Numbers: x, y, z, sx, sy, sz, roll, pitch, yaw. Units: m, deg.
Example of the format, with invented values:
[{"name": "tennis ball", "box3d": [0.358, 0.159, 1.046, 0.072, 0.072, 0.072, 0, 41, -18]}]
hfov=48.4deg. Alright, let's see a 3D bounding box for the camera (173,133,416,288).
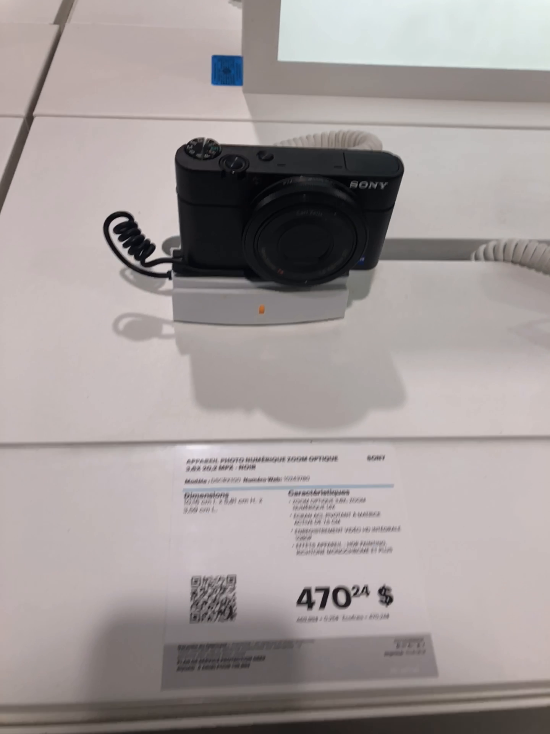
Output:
[{"name": "camera", "box3d": [0.007, -0.071, 0.283, 0.100, 0.056, 0.036, 1, 50, -4]}]
